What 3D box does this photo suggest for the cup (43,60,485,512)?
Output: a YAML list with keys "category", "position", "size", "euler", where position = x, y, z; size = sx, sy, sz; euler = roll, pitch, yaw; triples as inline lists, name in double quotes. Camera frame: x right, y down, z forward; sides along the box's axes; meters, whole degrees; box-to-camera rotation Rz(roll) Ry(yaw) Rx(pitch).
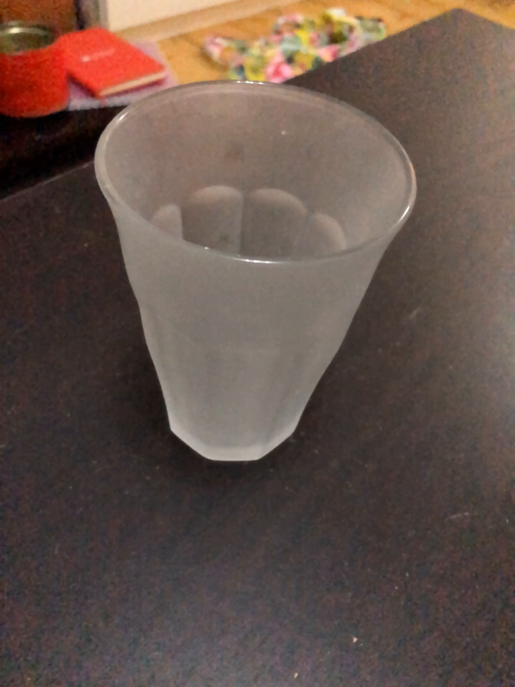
- category: "cup"
  position: [-0.003, -0.012, 0.208]
  size: [0.100, 0.129, 0.090]
  euler: [4, 49, -4]
